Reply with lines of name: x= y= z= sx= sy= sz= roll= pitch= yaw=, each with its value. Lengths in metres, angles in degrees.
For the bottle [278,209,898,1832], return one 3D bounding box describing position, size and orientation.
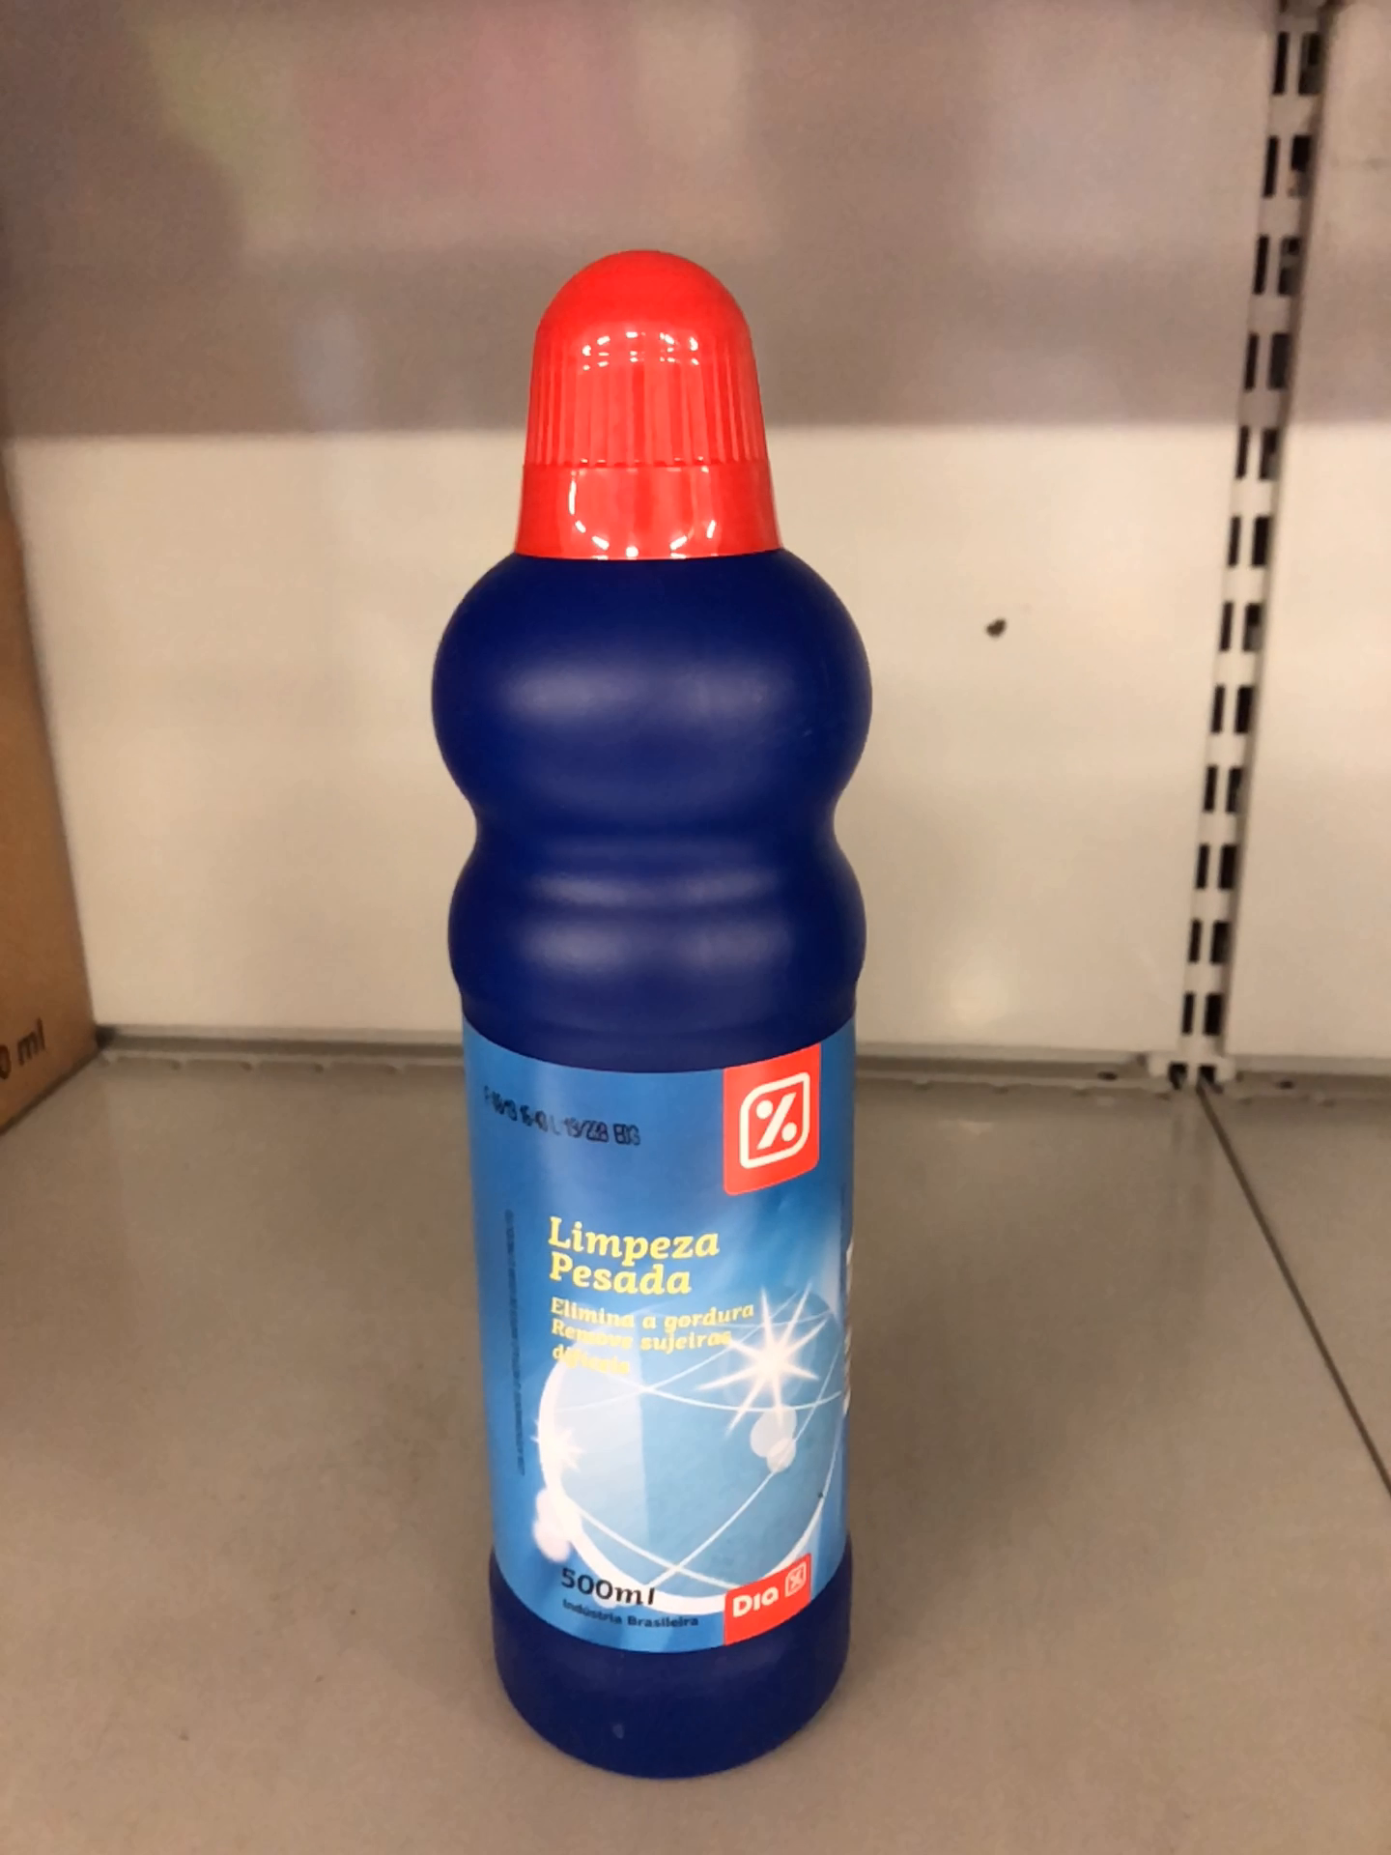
bottle: x=-0.009 y=0.021 z=0.248 sx=0.070 sy=0.239 sz=0.070 roll=-2 pitch=19 yaw=1
